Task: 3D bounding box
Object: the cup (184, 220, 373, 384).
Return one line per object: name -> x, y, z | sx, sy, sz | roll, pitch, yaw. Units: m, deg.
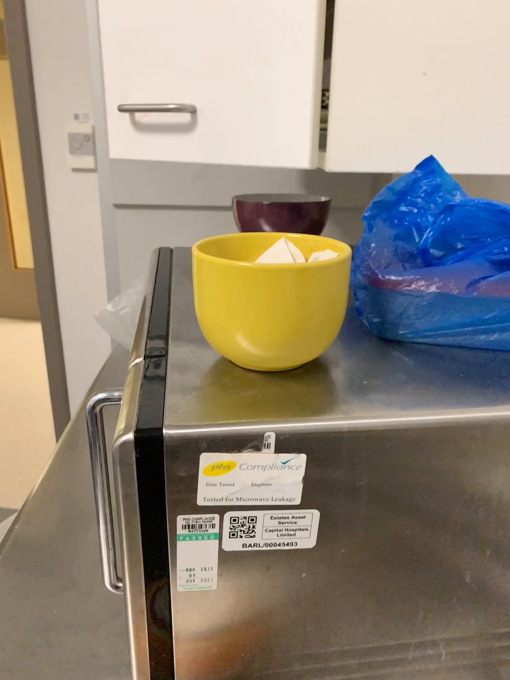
cup -> 0.005, -0.039, 0.408 | 0.115, 0.082, 0.155 | -1, 21, -8
